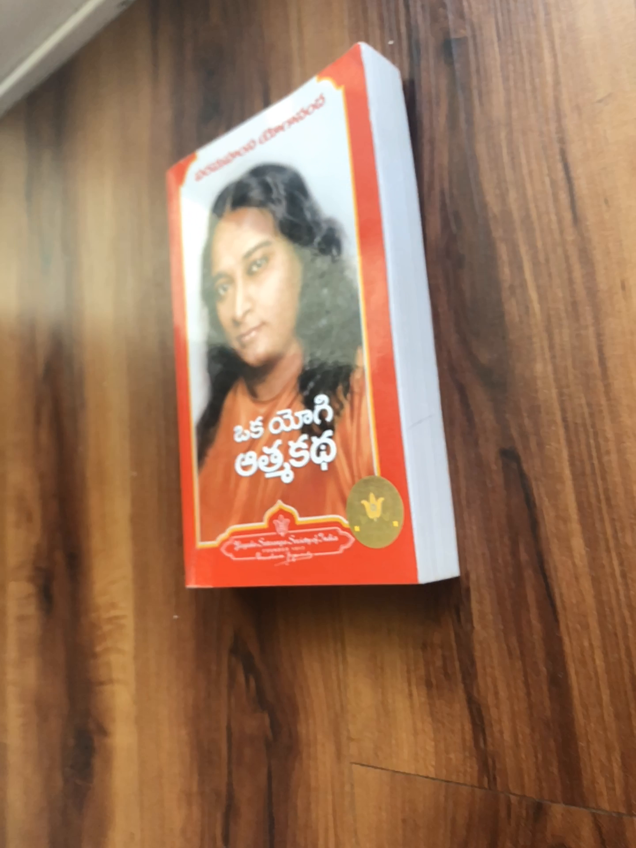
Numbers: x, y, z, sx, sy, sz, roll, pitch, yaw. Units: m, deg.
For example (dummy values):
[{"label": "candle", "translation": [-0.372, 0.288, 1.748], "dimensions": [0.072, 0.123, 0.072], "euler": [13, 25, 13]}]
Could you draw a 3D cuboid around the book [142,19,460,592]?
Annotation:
[{"label": "book", "translation": [-0.019, -0.037, 0.316], "dimensions": [0.148, 0.030, 0.214], "euler": [-11, 79, 41]}]
